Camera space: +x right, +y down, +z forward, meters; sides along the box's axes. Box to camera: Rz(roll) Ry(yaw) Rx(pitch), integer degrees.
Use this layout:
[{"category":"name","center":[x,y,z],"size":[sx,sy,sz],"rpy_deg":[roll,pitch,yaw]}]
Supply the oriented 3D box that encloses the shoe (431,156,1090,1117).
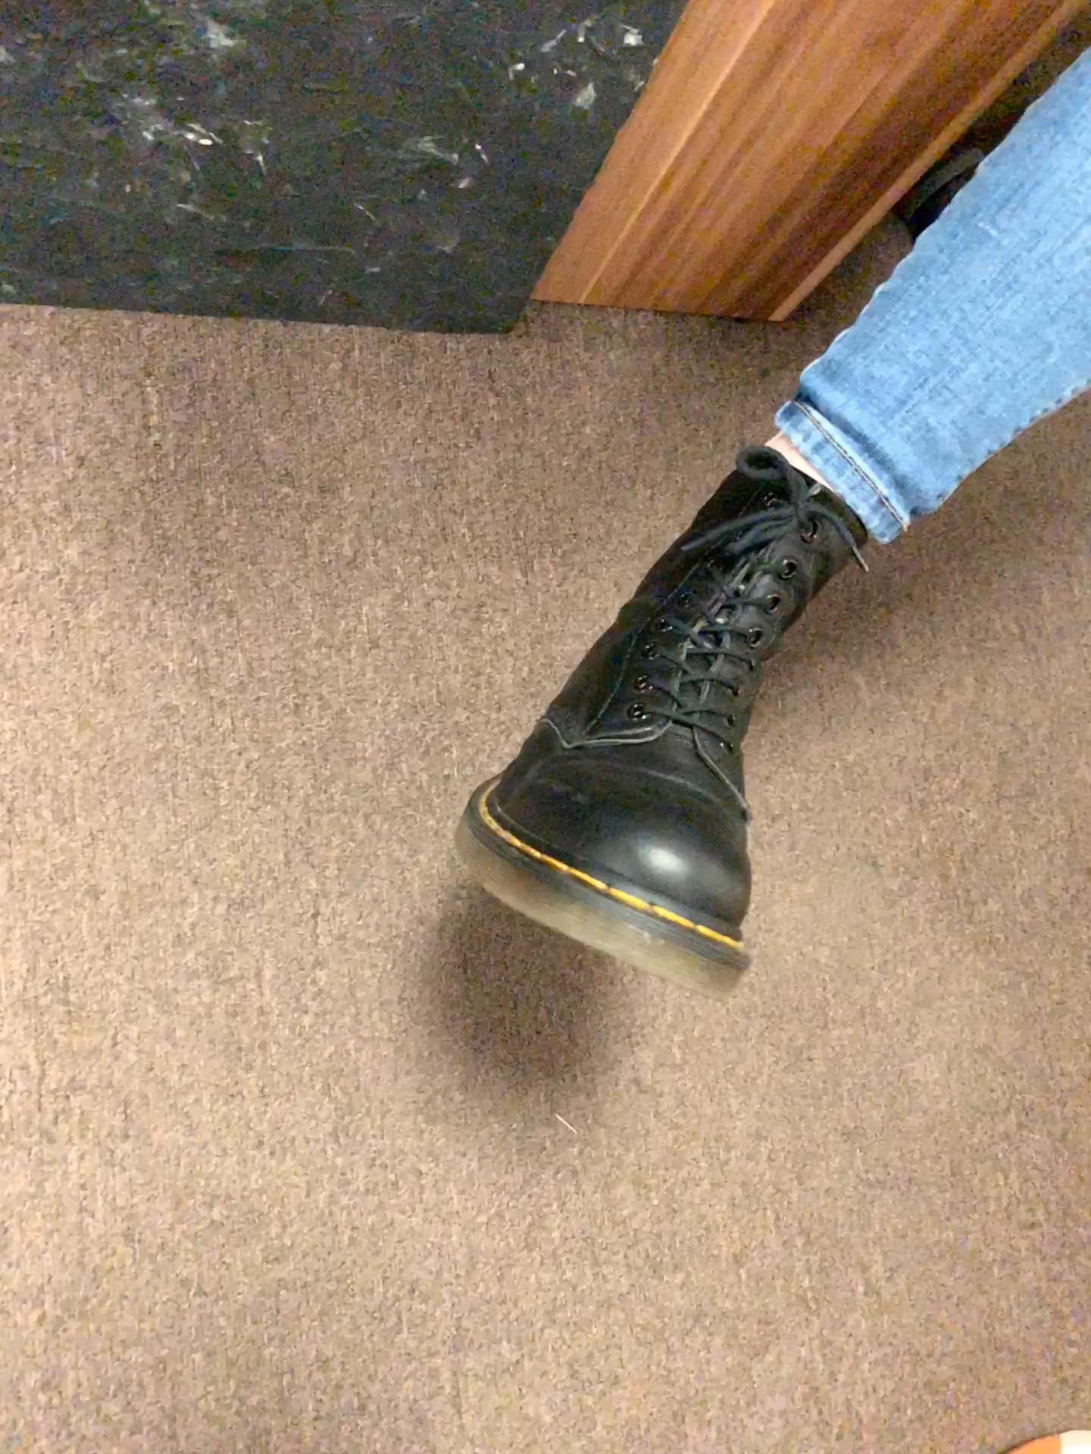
[{"category":"shoe","center":[0.065,-0.052,0.478],"size":[0.120,0.370,0.230],"rpy_deg":[30,97,-12]}]
